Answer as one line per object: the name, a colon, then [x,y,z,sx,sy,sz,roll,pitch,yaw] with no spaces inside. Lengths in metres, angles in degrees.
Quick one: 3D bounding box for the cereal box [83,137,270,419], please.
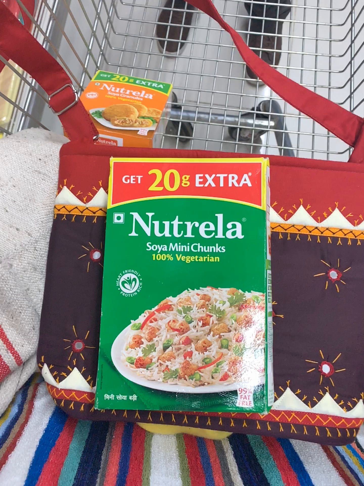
cereal box: [-0.003,0.022,0.279,0.120,0.050,0.190,0,81,2]
